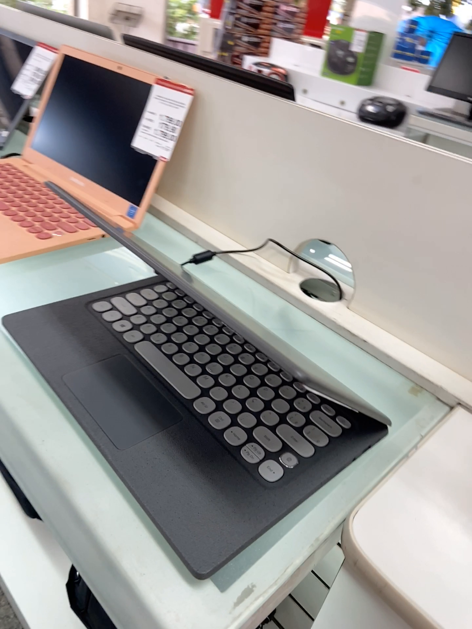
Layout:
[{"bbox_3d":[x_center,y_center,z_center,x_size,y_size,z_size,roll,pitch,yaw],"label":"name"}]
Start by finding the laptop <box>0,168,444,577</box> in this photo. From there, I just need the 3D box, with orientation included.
[{"bbox_3d":[-0.040,-0.002,0.416,0.212,0.132,0.317,-20,43,-38],"label":"laptop"}]
